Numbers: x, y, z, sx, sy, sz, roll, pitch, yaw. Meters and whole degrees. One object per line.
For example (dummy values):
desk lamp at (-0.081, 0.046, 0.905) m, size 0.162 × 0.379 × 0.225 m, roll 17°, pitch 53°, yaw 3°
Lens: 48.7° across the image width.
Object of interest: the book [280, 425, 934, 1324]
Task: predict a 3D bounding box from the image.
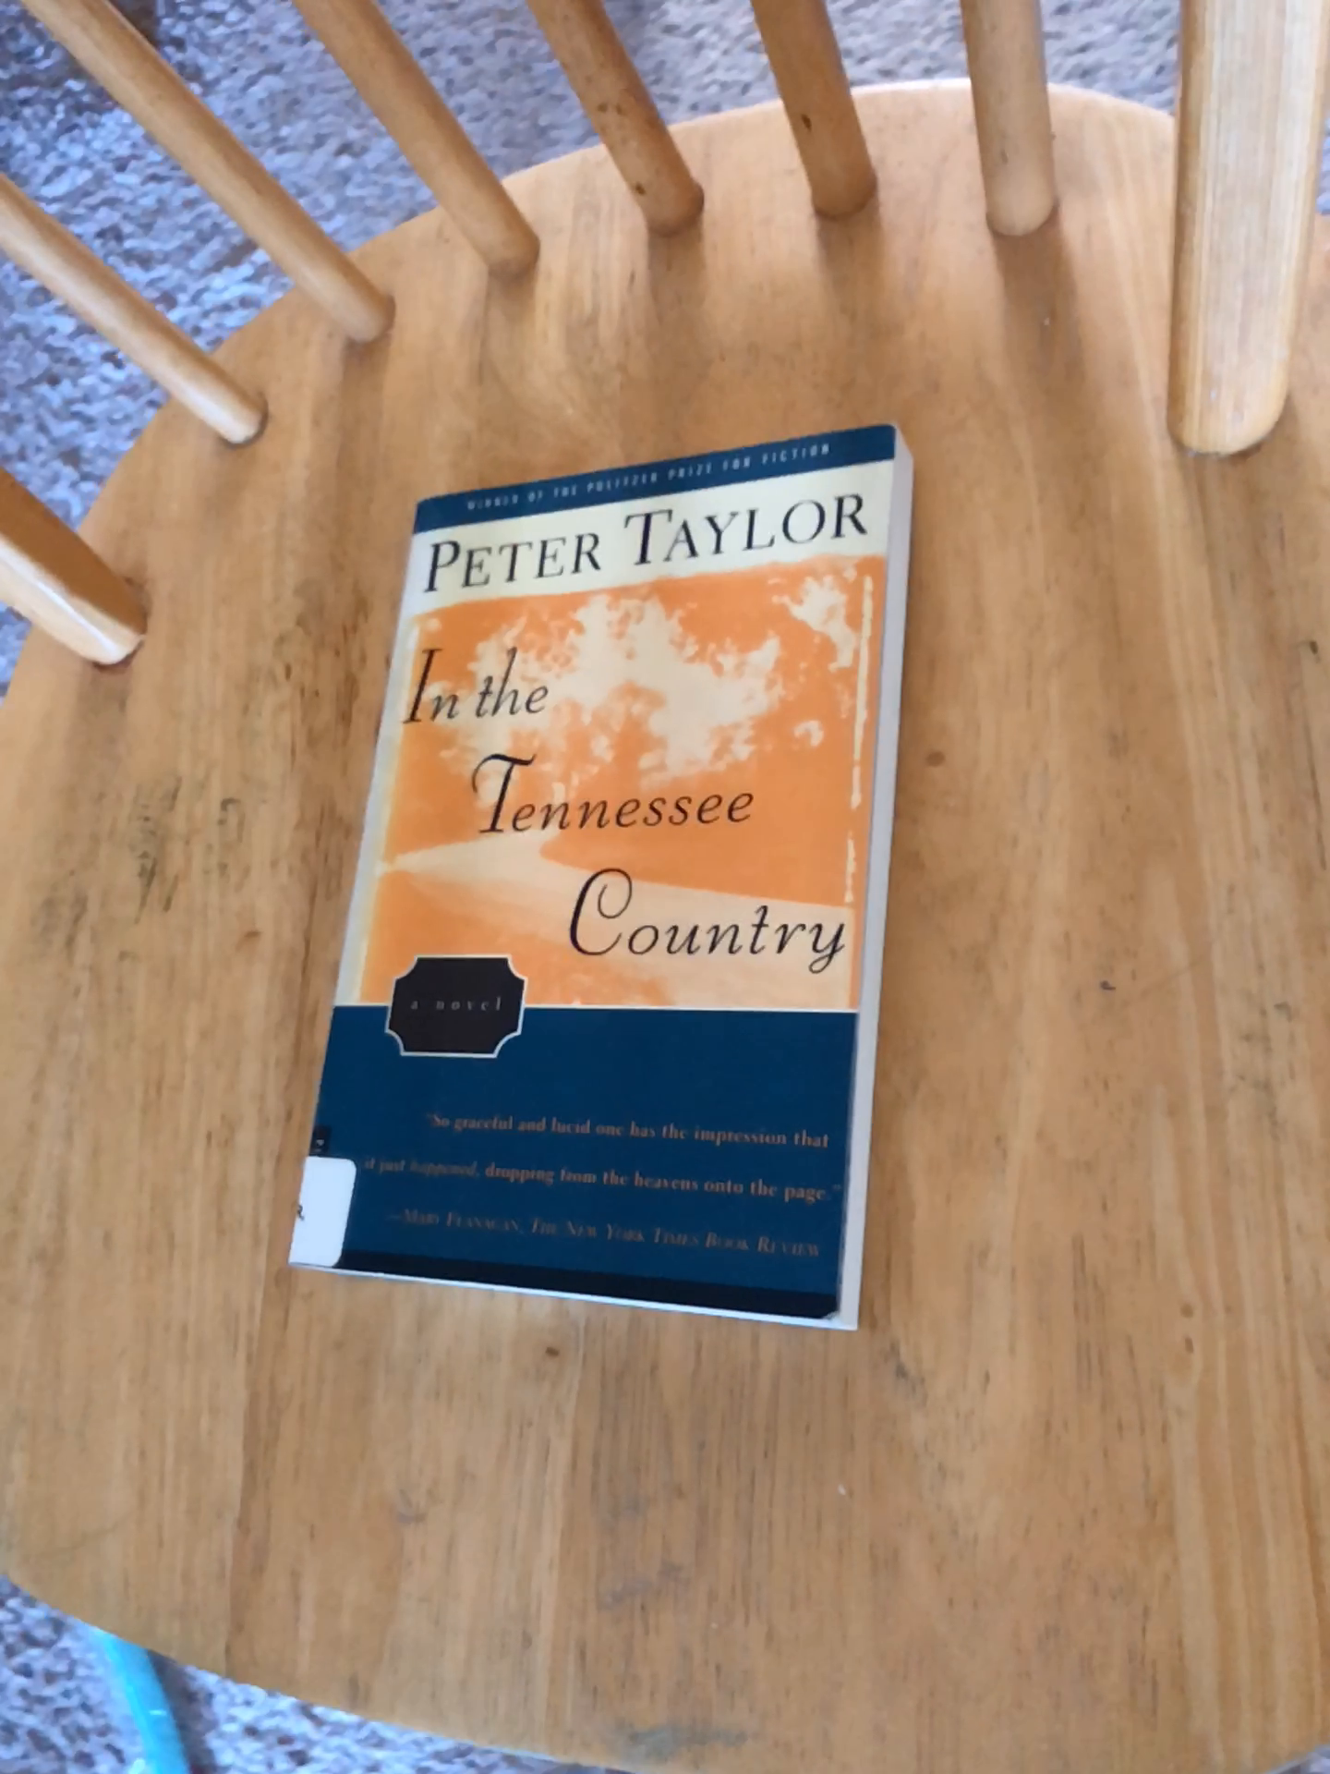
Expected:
book at (-0.012, -0.007, 0.353) m, size 0.137 × 0.025 × 0.200 m, roll -1°, pitch 72°, yaw 26°
